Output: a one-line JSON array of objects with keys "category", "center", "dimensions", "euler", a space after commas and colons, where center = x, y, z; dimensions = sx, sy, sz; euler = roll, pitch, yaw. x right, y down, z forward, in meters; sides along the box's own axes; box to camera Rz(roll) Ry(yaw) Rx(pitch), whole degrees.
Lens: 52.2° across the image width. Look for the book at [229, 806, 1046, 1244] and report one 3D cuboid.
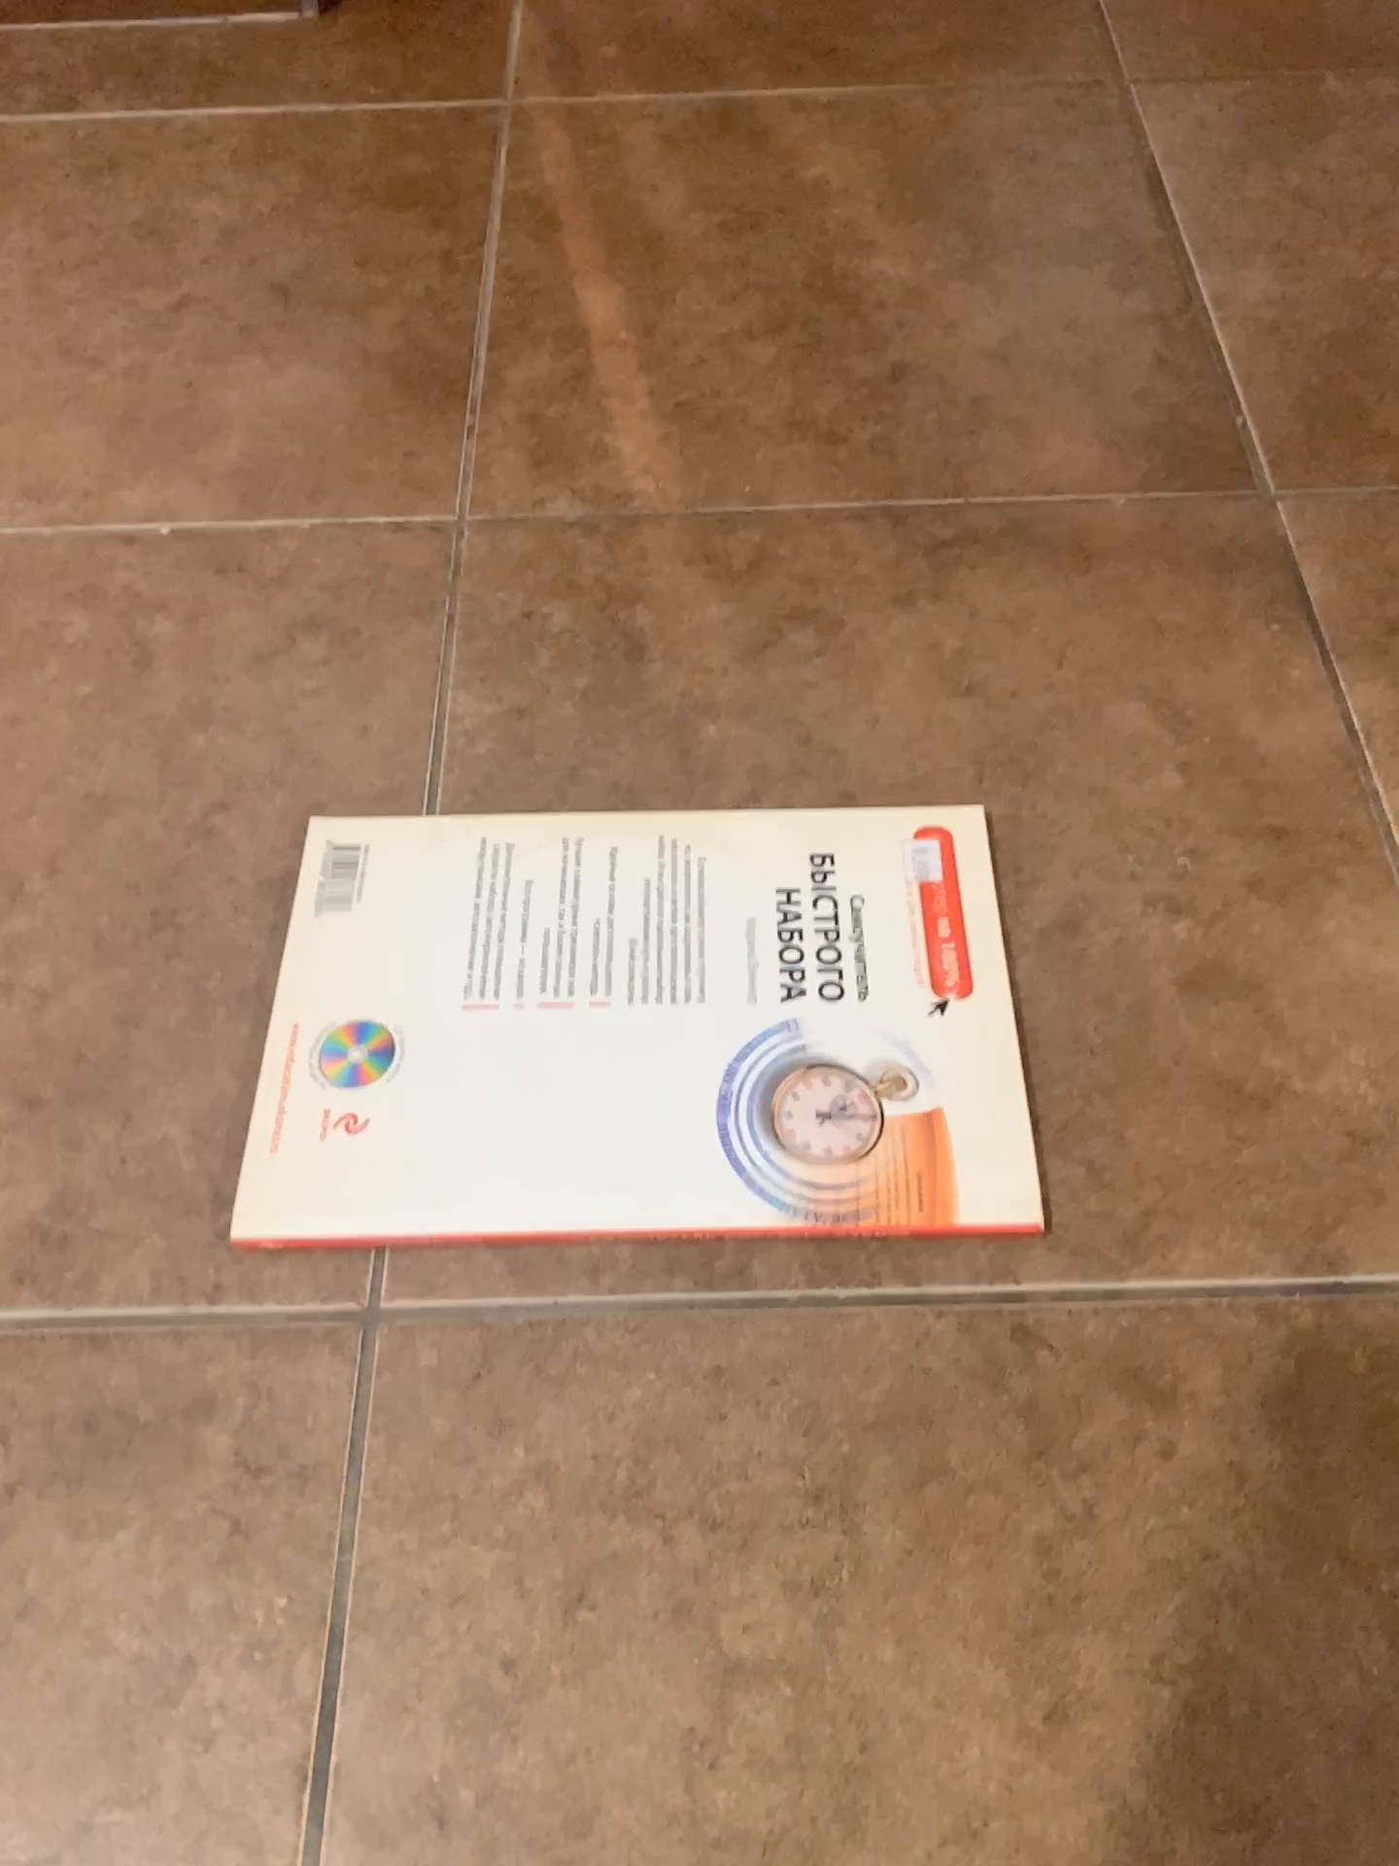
[{"category": "book", "center": [-0.016, 0.022, 0.407], "dimensions": [0.210, 0.009, 0.135], "euler": [-1, 57, 1]}]
